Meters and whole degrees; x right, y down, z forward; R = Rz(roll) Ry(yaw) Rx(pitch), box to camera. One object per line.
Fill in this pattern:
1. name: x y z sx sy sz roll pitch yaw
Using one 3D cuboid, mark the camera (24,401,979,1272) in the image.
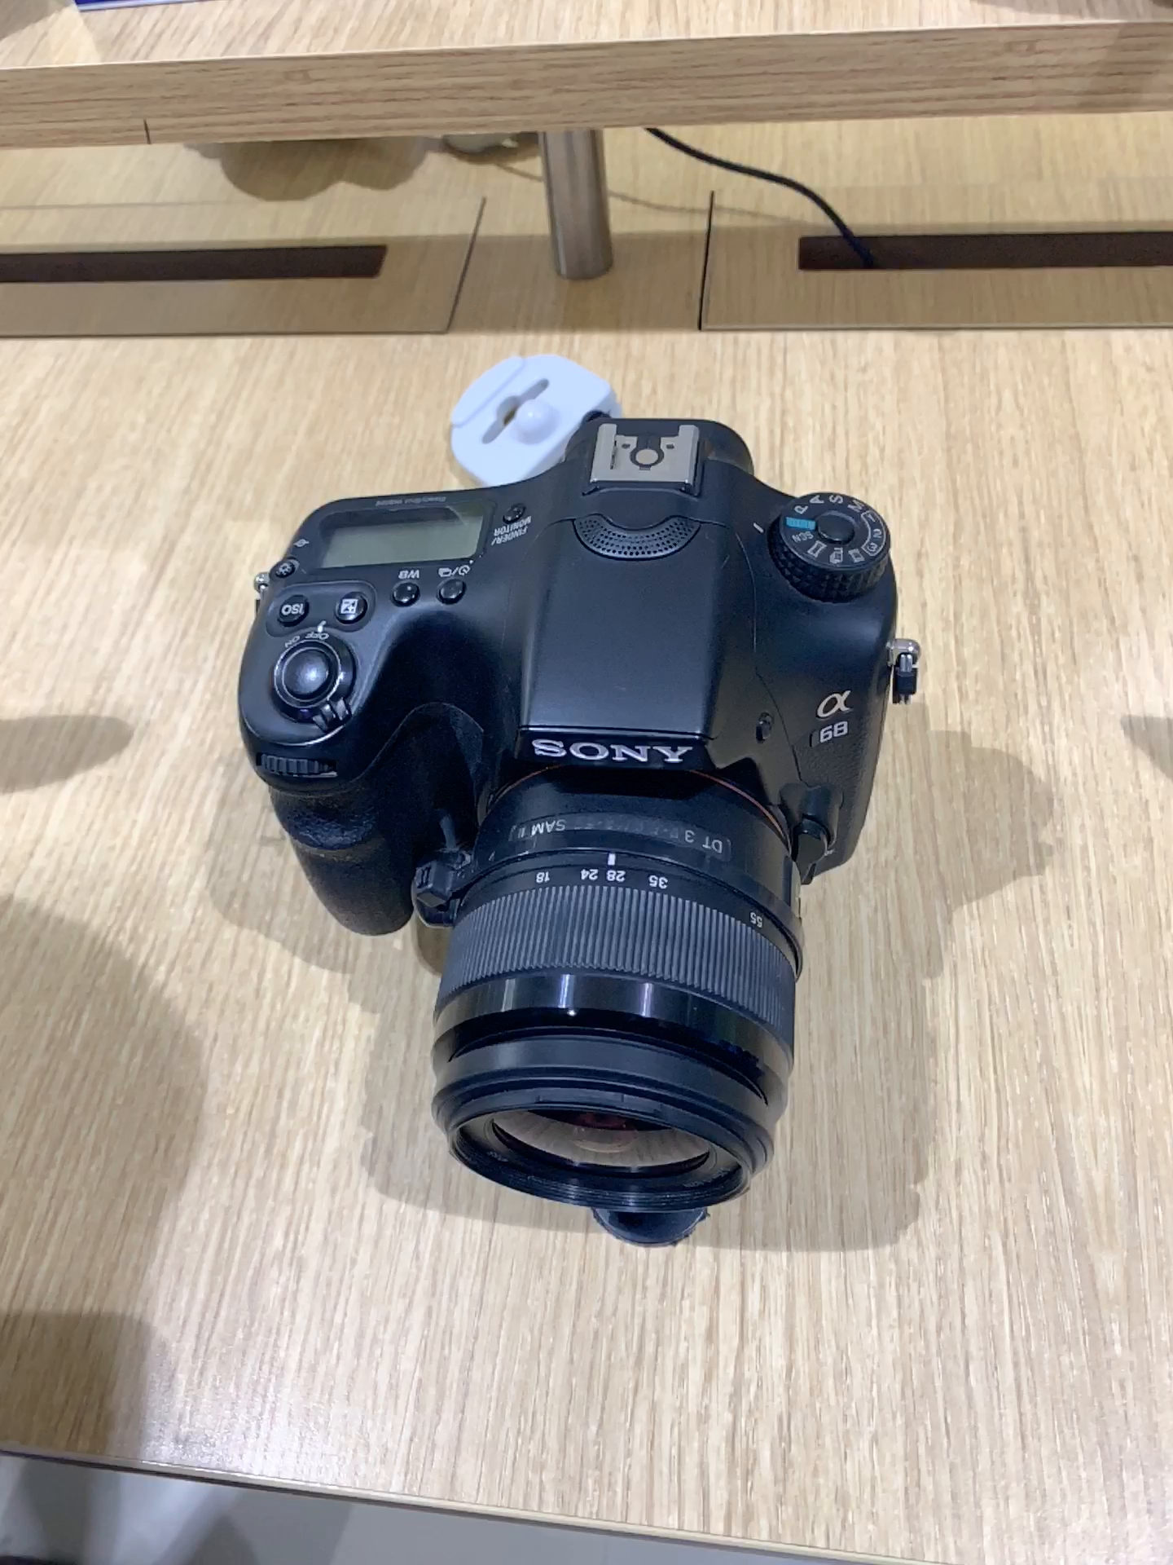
1. camera: -0.004 0.010 0.241 0.130 0.100 0.135 1 56 7
